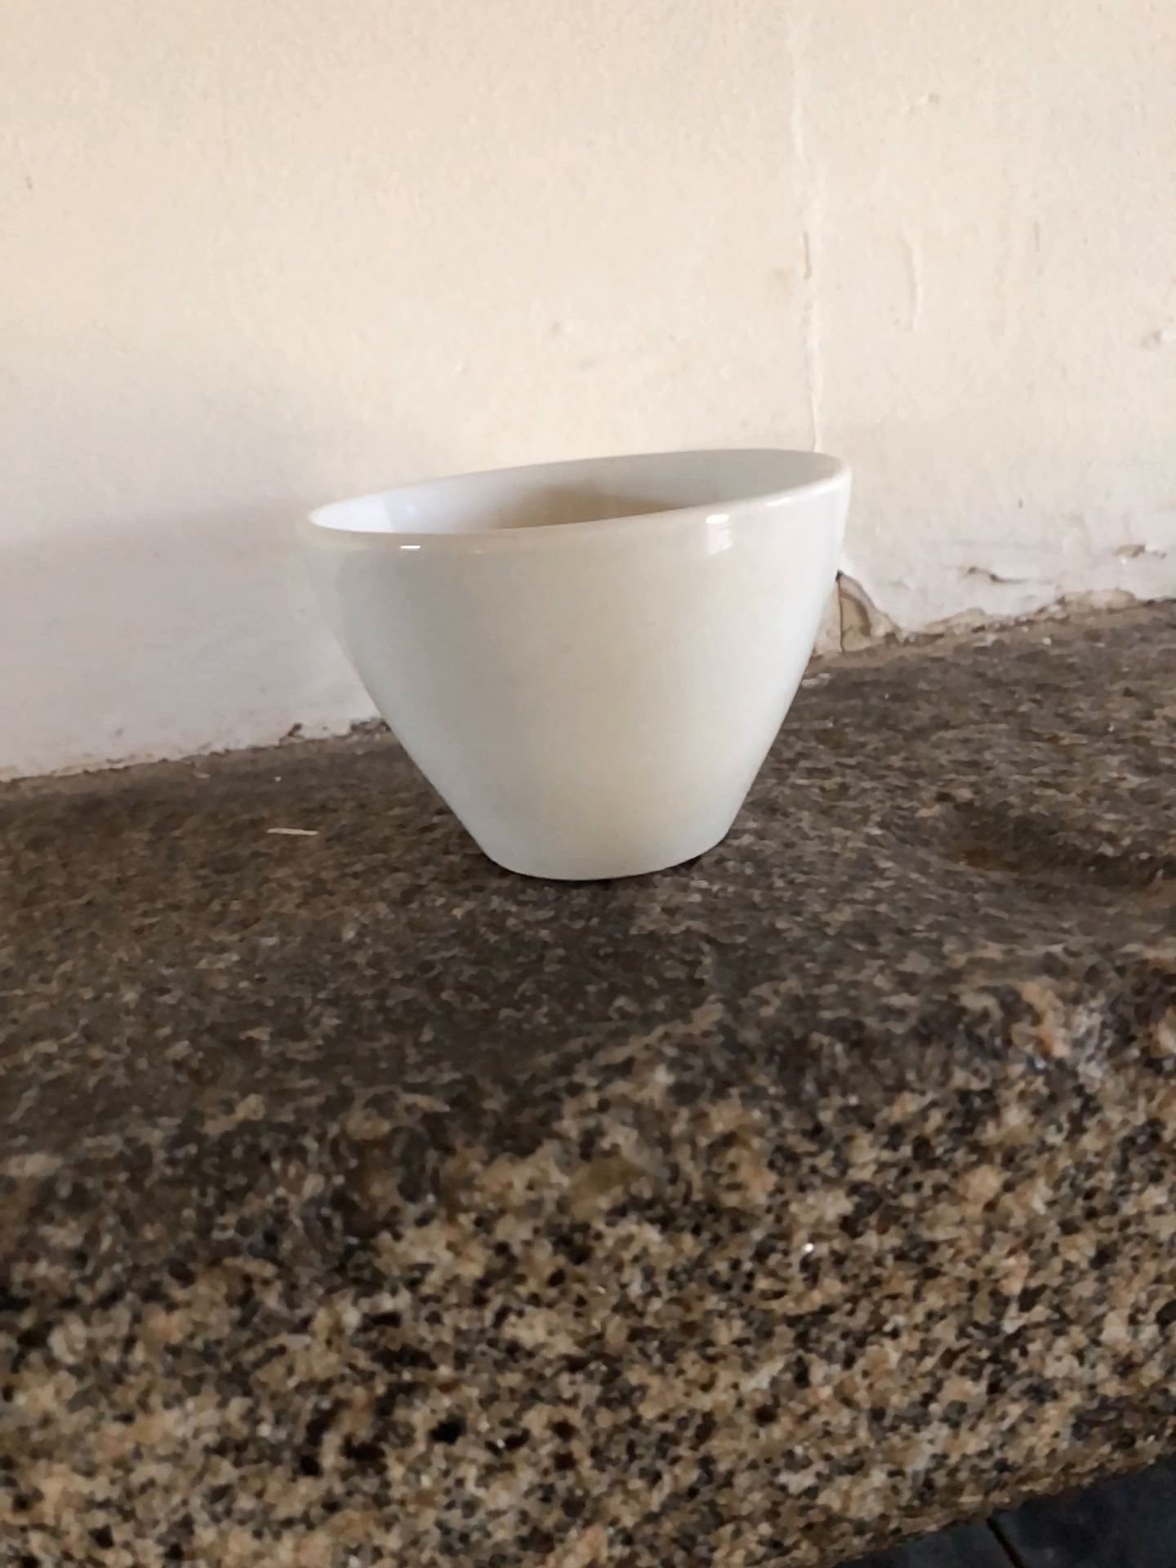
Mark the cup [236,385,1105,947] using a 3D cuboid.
[{"bbox_3d":[0.015,-0.028,0.200,0.100,0.050,0.080,-22,25,-37],"label":"cup"}]
